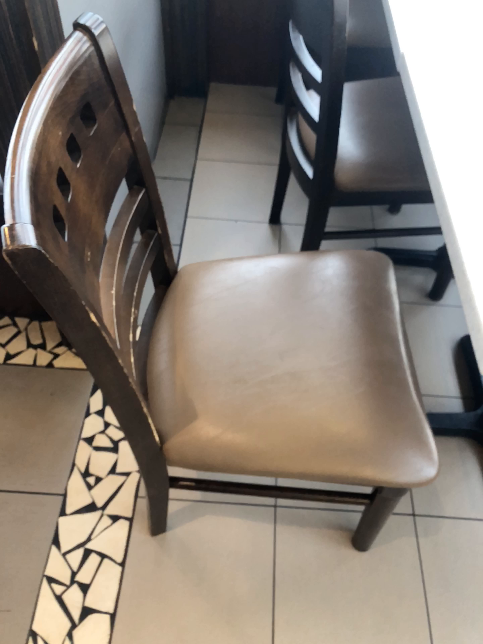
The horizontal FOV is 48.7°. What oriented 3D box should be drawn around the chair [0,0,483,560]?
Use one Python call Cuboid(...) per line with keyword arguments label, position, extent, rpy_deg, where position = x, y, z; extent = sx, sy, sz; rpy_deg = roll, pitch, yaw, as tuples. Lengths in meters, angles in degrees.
Cuboid(label="chair", position=(0.065, 0.009, 0.805), extent=(0.570, 0.716, 0.473), rpy_deg=(3, 54, -1))
